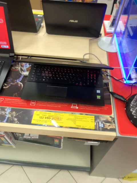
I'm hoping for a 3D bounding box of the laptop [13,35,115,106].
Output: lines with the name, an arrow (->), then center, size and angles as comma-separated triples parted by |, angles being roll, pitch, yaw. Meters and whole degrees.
laptop -> -0.015, -0.105, 0.724 | 0.394, 0.166, 0.259 | 4, 53, 2
